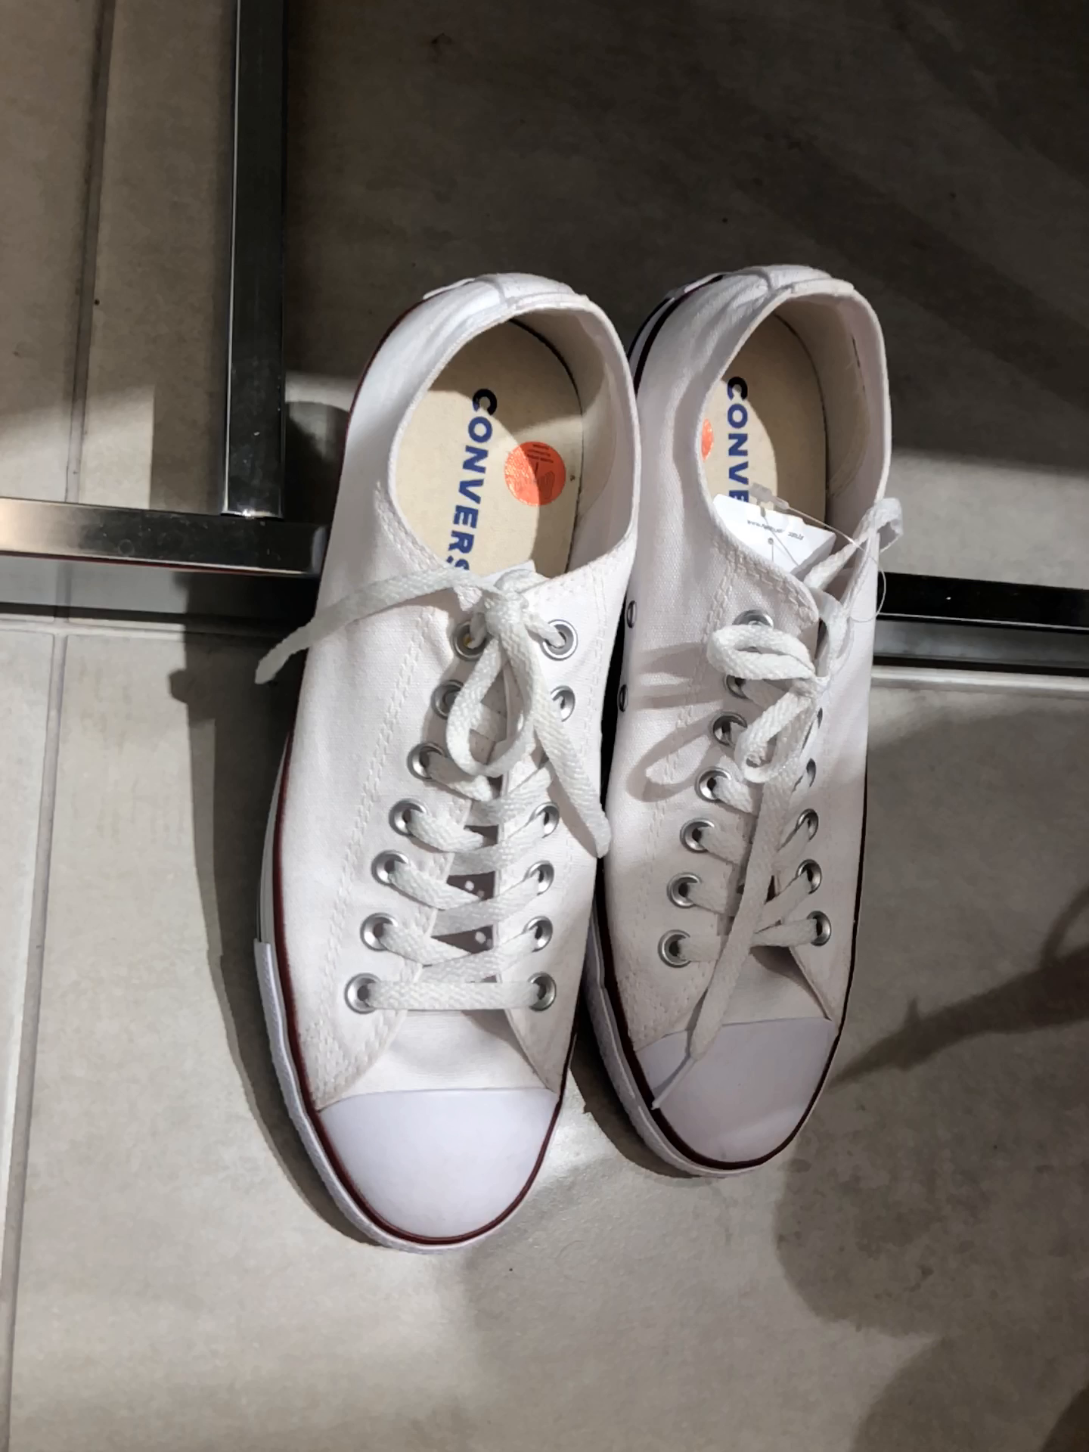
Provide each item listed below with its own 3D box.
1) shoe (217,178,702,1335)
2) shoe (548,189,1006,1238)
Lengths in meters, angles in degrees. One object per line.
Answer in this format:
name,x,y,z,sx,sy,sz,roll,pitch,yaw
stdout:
shoe,-0.033,0.011,0.359,0.110,0.090,0.290,3,94,-16
shoe,0.068,-0.002,0.390,0.100,0.090,0.290,1,94,-16
